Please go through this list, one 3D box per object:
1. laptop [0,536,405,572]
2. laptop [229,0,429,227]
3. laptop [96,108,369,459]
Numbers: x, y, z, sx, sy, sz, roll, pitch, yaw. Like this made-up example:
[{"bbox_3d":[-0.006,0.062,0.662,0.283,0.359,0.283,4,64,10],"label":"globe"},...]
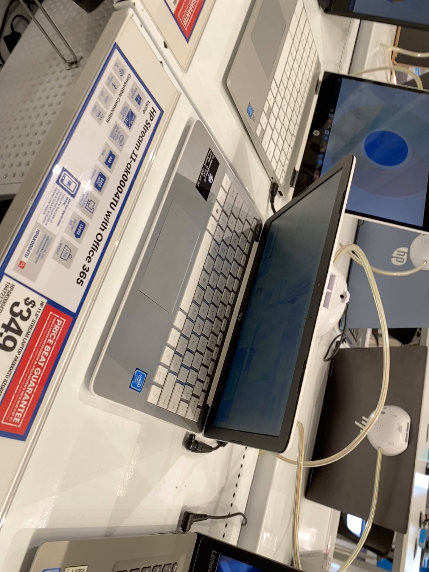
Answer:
[{"bbox_3d":[-0.010,0.395,0.316,0.277,0.211,0.326,44,57,-52],"label":"laptop"},{"bbox_3d":[0.196,-0.270,0.599,0.298,0.189,0.257,46,55,-53],"label":"laptop"},{"bbox_3d":[0.045,0.001,0.441,0.182,0.138,0.277,46,55,-51],"label":"laptop"}]
